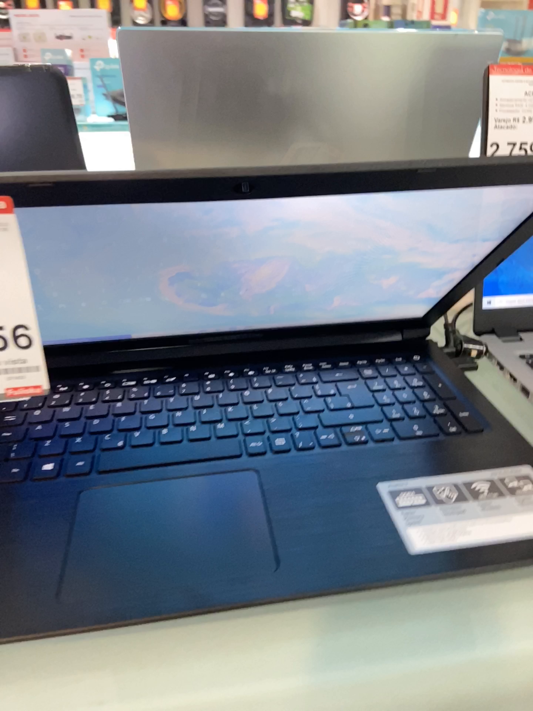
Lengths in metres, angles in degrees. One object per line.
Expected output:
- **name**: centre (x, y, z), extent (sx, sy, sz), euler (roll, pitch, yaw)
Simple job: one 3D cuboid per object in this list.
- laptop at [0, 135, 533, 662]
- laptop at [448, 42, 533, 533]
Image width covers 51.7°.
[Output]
- **laptop**: centre (-0.020, -0.017, 0.324), extent (0.375, 0.169, 0.231), euler (-5, 29, -8)
- **laptop**: centre (0.384, -0.091, 0.399), extent (0.362, 0.227, 0.315), euler (-4, 28, -6)
